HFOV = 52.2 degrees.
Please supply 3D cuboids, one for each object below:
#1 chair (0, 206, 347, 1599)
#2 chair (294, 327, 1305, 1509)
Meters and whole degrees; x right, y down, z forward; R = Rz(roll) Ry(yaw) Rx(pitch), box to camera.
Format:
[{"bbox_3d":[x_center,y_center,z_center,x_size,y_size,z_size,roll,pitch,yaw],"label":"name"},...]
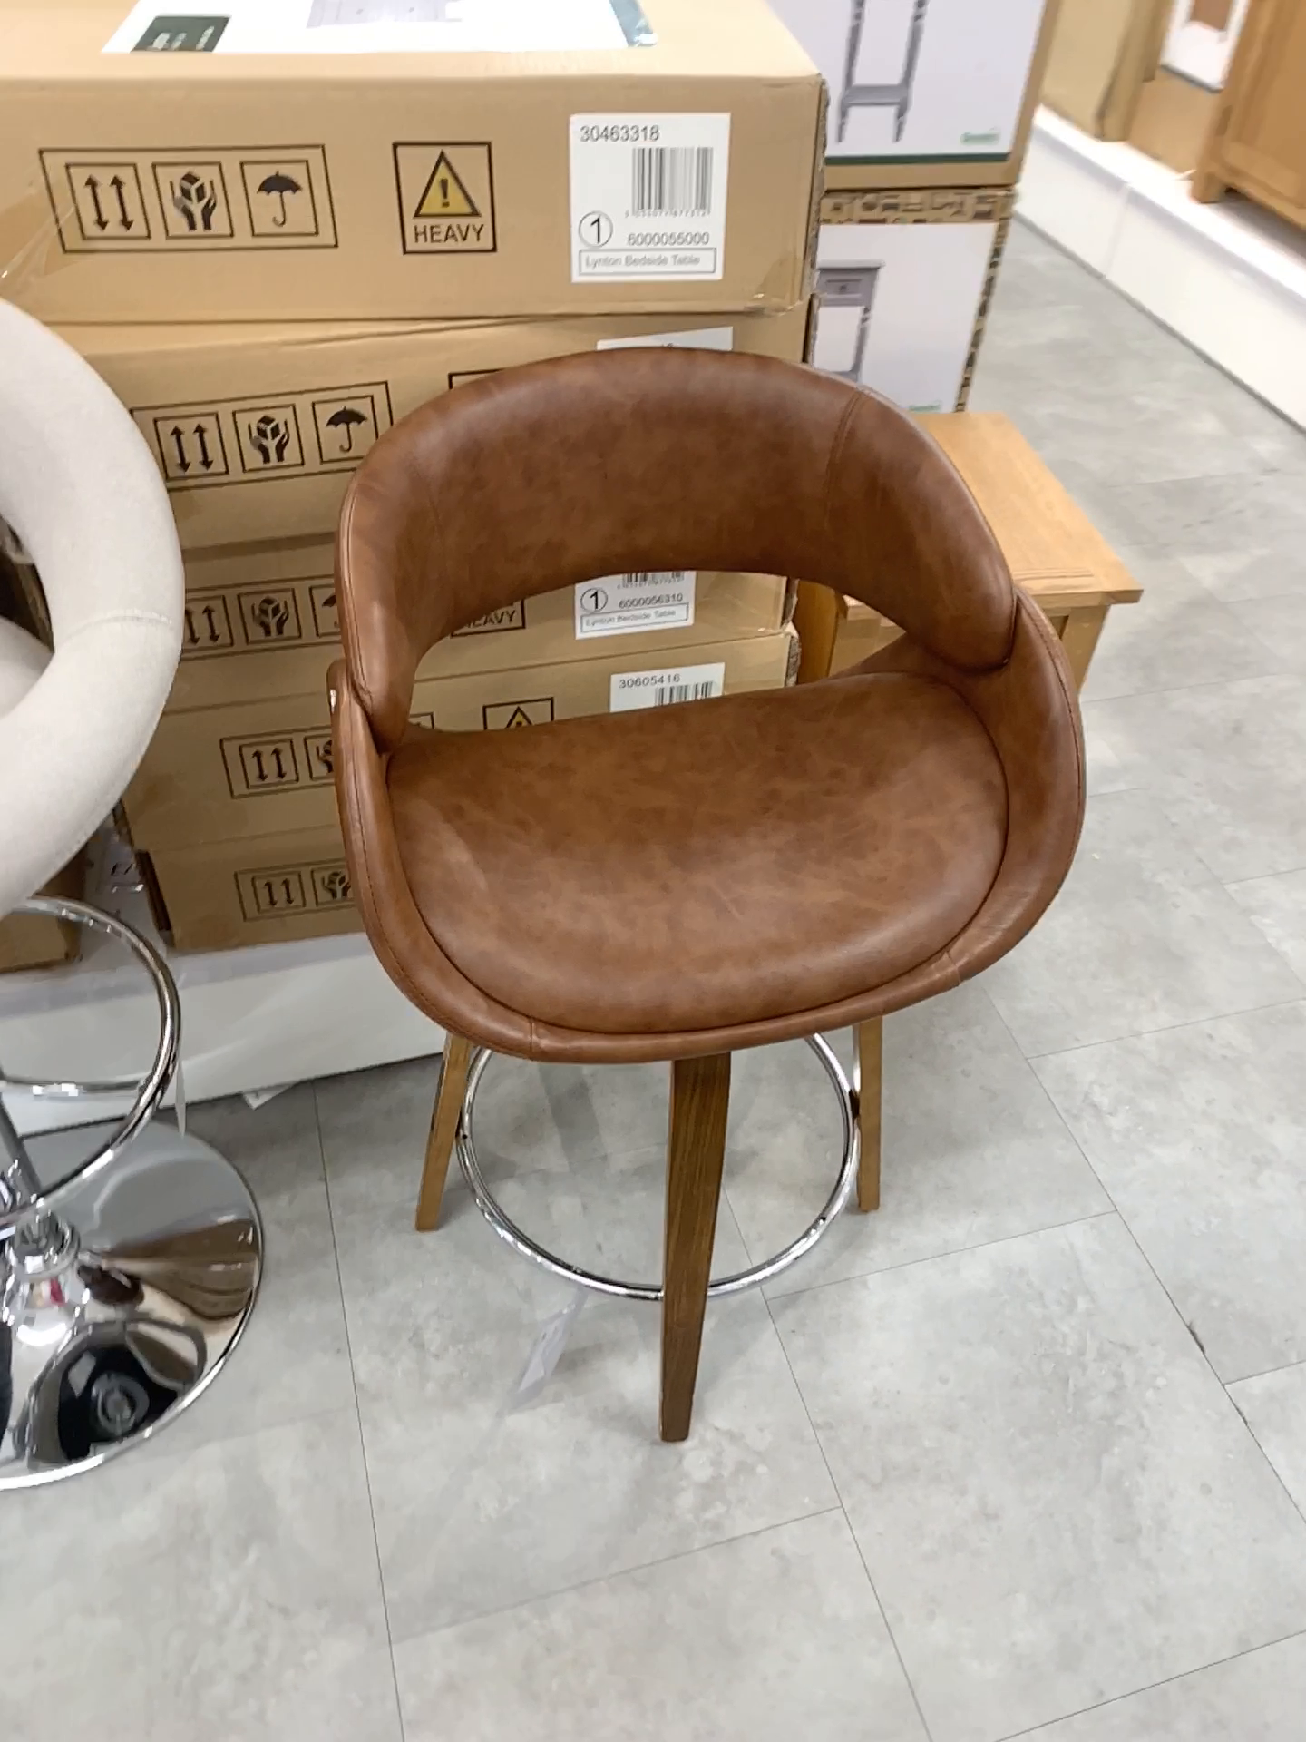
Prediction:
[{"bbox_3d":[-0.583,0.071,1.068,0.494,0.945,0.524,-11,46,-15],"label":"chair"},{"bbox_3d":[0.032,0.061,1.198,0.544,0.846,0.554,-8,46,-13],"label":"chair"}]
